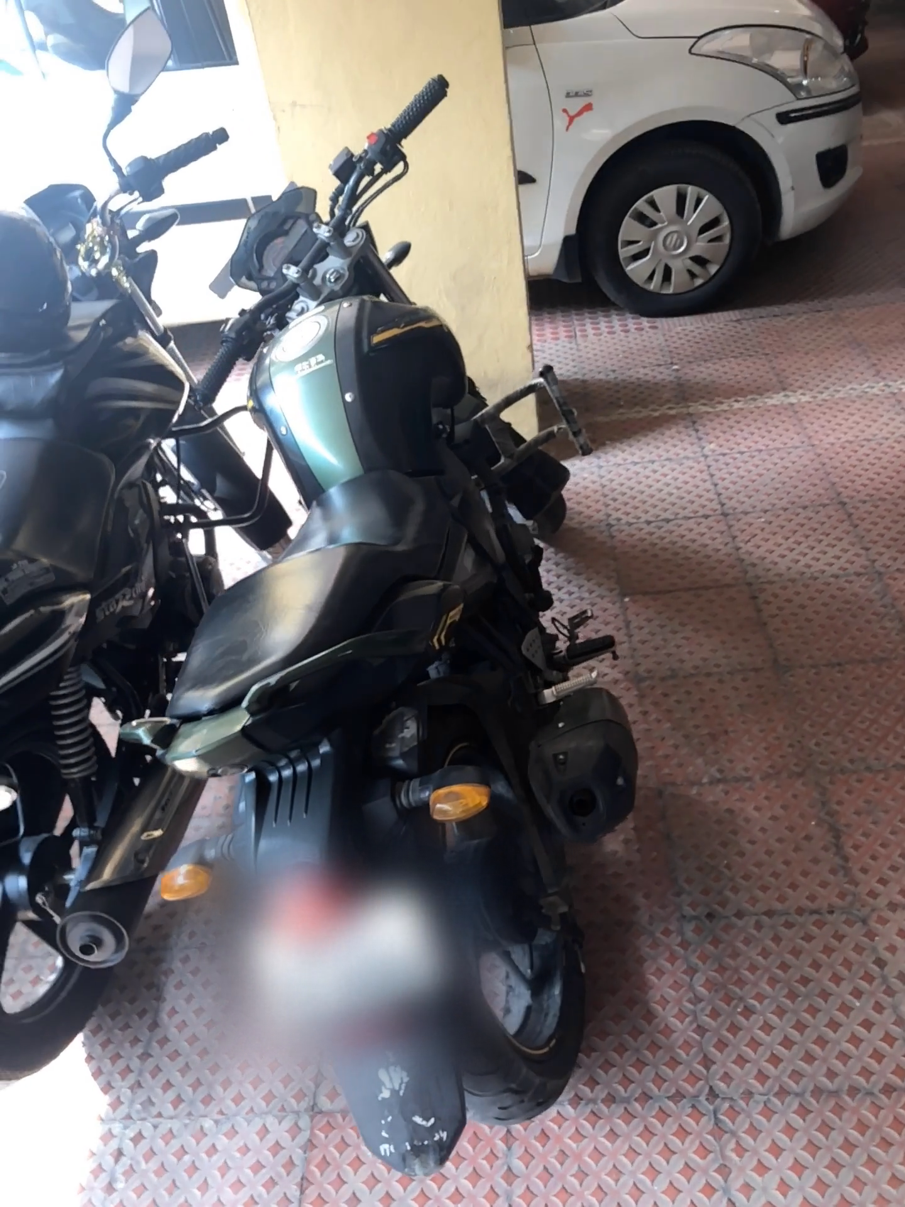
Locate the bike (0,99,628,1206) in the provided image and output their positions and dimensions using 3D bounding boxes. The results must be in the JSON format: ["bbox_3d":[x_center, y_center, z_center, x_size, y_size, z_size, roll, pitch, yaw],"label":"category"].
[{"bbox_3d":[-0.276,-0.121,1.778,0.738,1.090,1.818,-9,35,1],"label":"bike"}]
